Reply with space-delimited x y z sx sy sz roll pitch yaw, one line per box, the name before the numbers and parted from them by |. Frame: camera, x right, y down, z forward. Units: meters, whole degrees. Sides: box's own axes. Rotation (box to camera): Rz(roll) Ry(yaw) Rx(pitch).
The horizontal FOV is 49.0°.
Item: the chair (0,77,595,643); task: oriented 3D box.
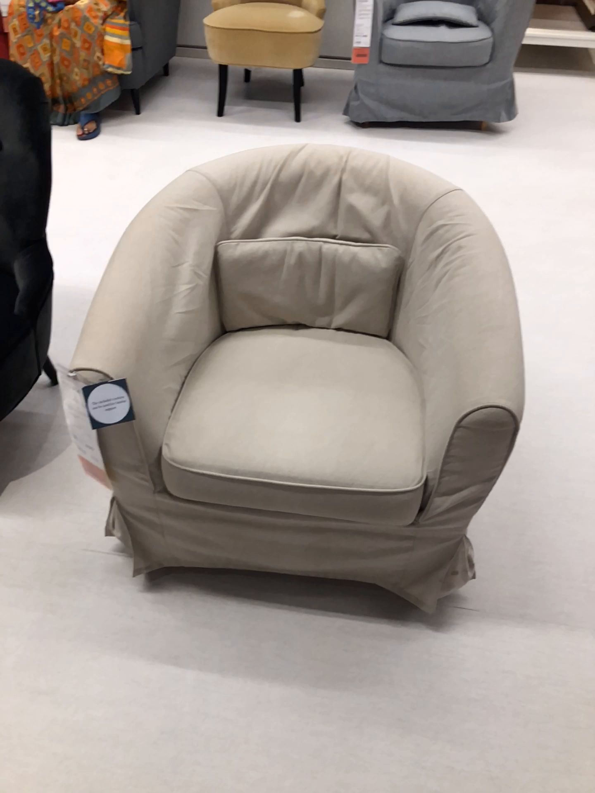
chair | 0.012 -0.068 1.310 0.860 0.805 0.705 5 45 4
